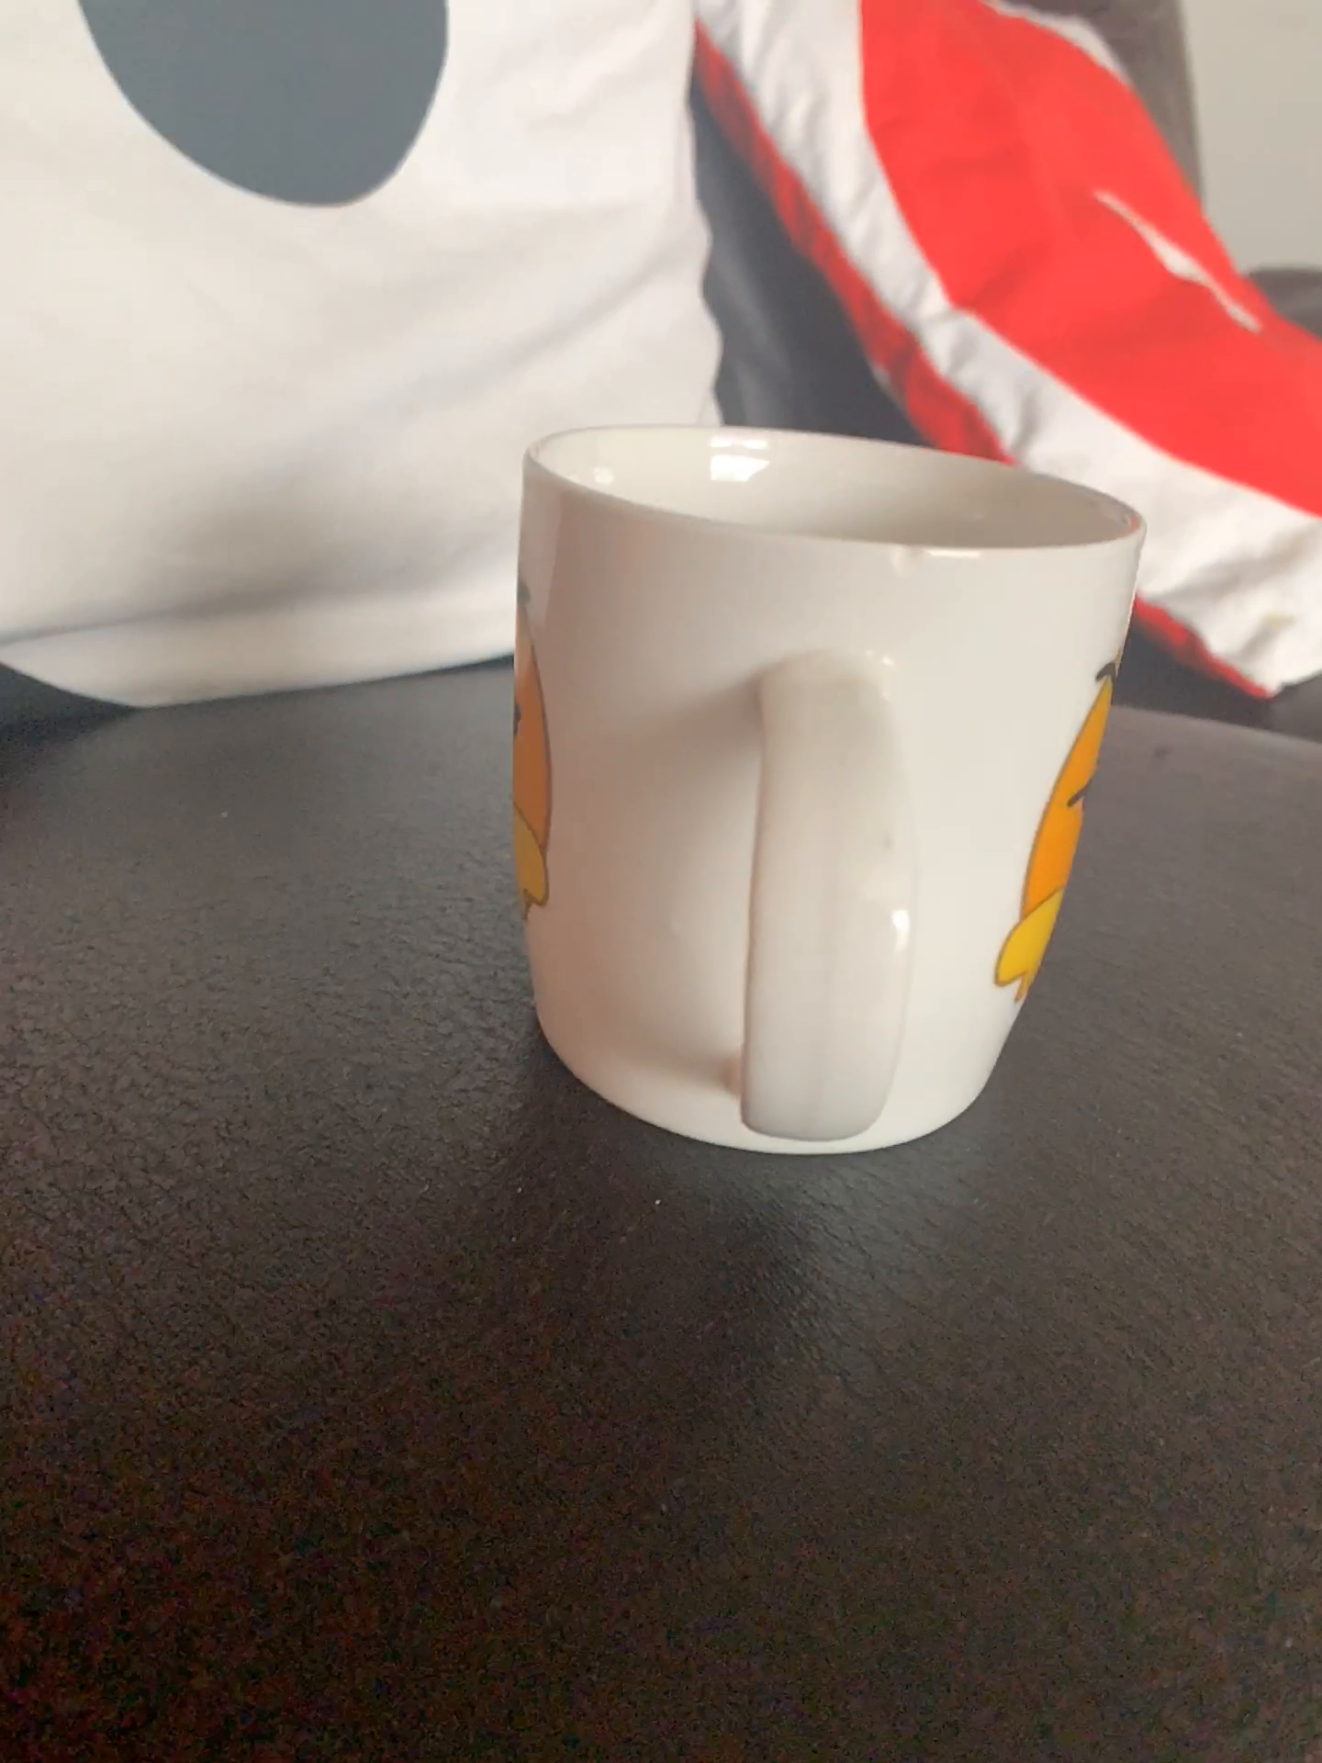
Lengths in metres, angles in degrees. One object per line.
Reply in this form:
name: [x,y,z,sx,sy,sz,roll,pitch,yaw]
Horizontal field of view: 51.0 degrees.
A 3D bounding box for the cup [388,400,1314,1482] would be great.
cup: [0.019,-0.006,0.196,0.080,0.099,0.121,8,24,5]
